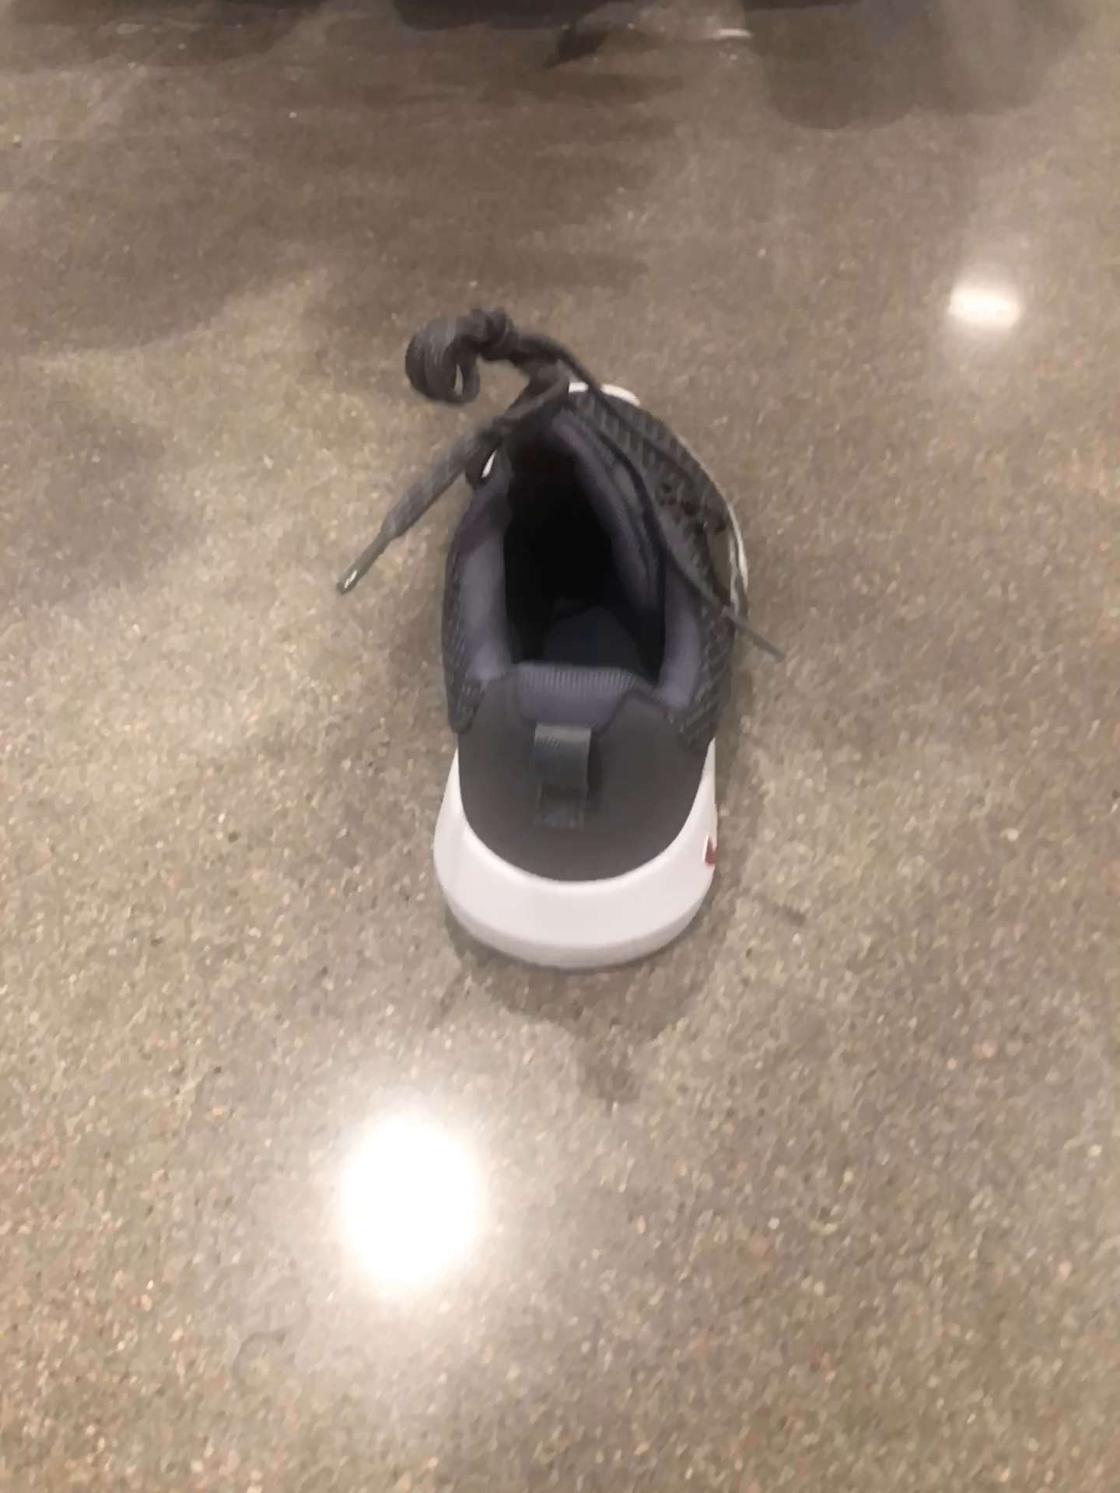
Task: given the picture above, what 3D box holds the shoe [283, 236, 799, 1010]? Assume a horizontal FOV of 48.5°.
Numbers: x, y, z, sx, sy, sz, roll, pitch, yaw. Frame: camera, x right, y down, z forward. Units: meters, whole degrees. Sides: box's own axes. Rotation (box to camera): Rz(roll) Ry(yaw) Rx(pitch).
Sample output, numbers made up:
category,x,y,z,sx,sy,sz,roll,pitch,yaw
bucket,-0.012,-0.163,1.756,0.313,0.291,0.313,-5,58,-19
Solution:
category,x,y,z,sx,sy,sz,roll,pitch,yaw
shoe,0.006,-0.059,0.397,0.116,0.084,0.266,4,48,3
